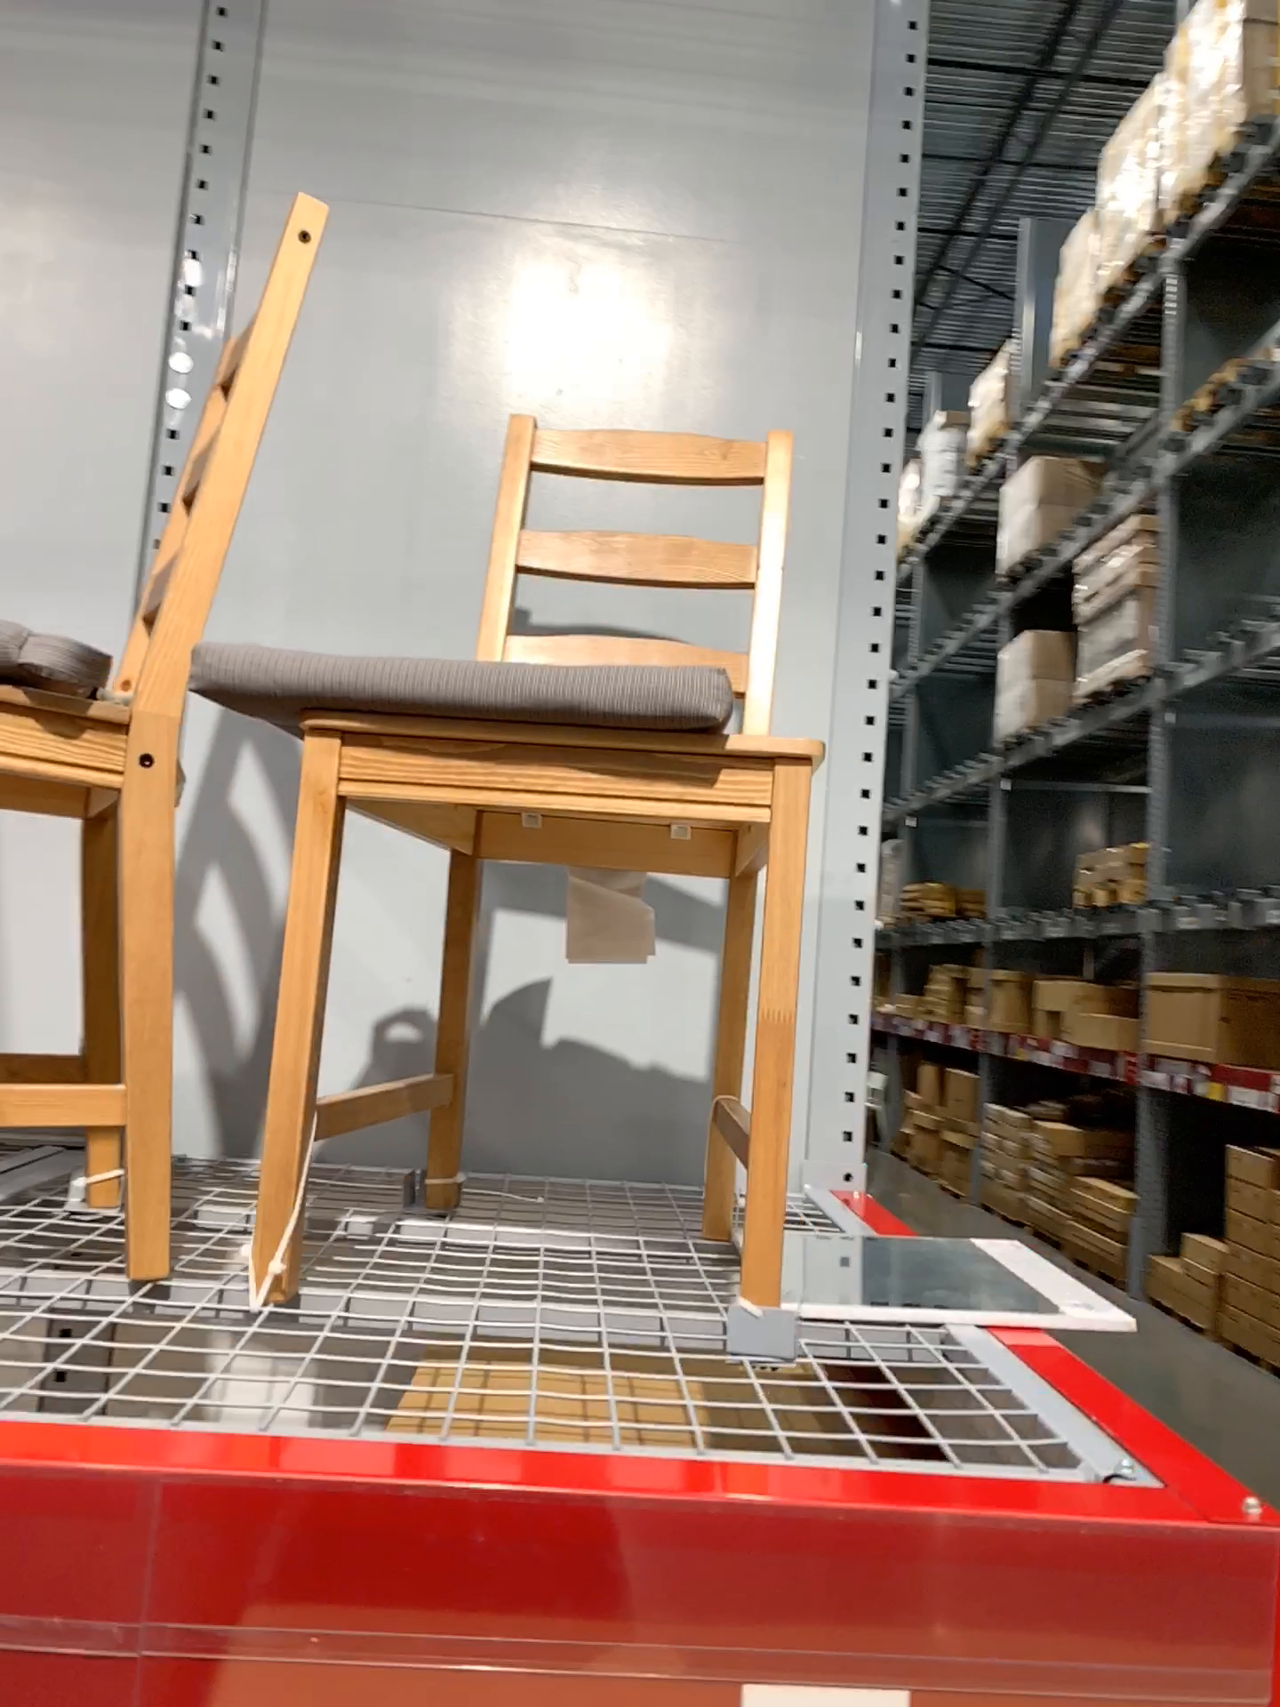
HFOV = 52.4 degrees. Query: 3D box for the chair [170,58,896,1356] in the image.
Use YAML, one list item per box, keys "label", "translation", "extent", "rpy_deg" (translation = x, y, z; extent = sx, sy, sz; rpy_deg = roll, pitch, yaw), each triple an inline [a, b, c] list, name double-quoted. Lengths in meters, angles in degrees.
- label: "chair"
  translation: [-0.062, -0.107, 1.177]
  extent: [0.440, 0.911, 0.499]
  rpy_deg: [4, -6, 1]
